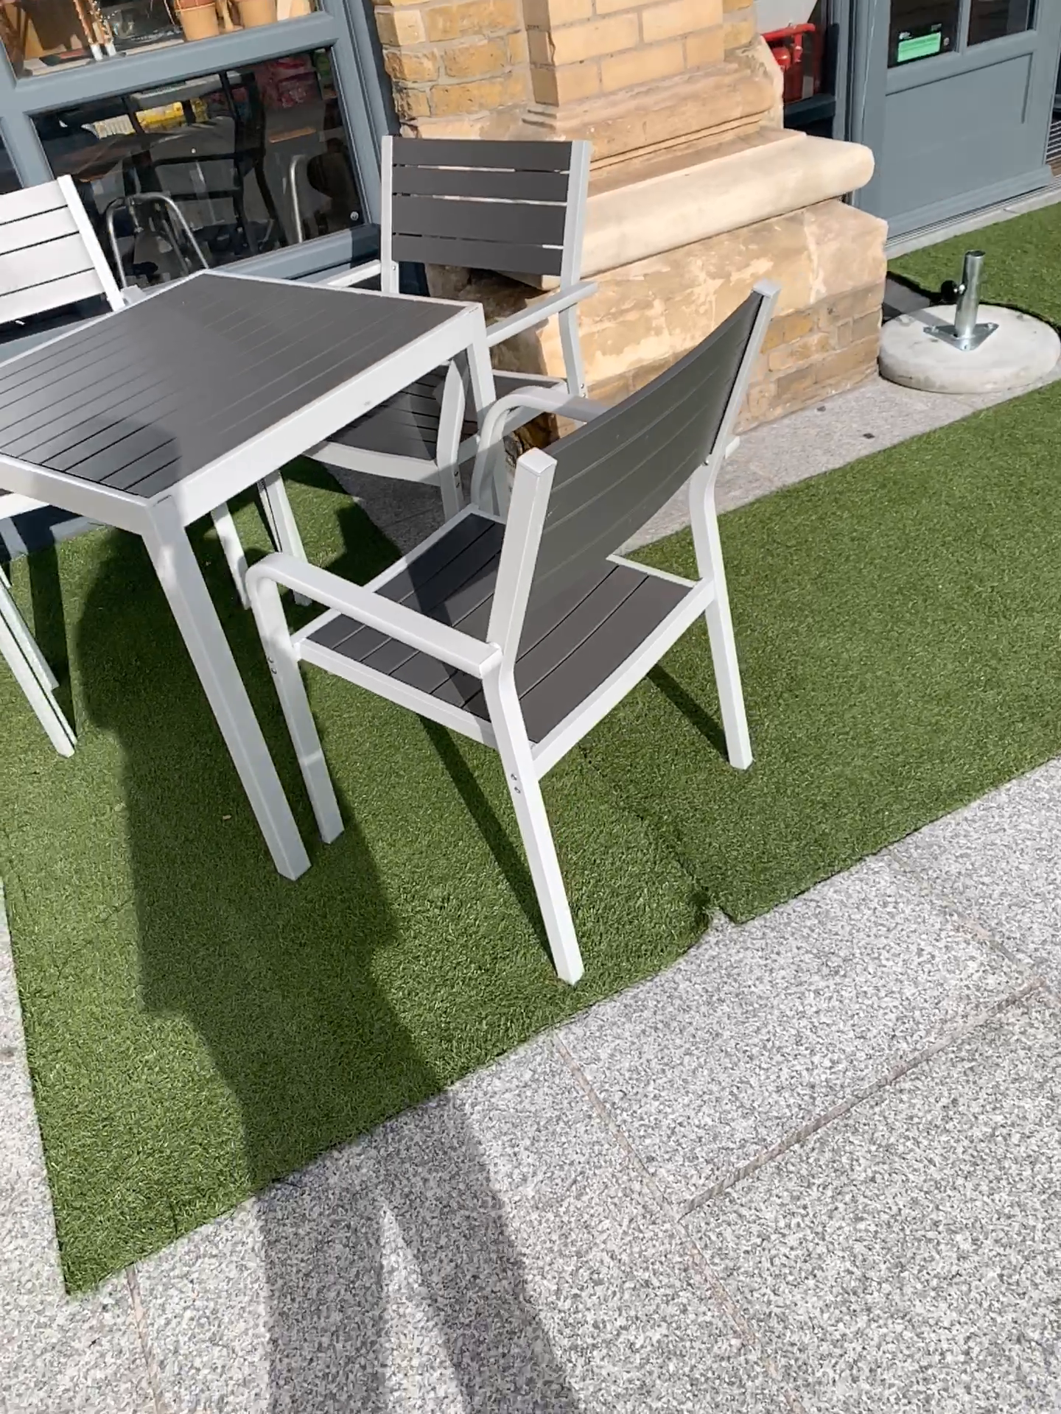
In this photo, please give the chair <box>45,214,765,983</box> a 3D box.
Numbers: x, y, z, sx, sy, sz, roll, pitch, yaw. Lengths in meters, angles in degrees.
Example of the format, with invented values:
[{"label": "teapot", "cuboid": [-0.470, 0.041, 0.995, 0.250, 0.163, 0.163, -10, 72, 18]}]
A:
[{"label": "chair", "cuboid": [-0.091, -0.207, 1.627, 0.648, 0.801, 0.685, 16, 46, 30]}]
